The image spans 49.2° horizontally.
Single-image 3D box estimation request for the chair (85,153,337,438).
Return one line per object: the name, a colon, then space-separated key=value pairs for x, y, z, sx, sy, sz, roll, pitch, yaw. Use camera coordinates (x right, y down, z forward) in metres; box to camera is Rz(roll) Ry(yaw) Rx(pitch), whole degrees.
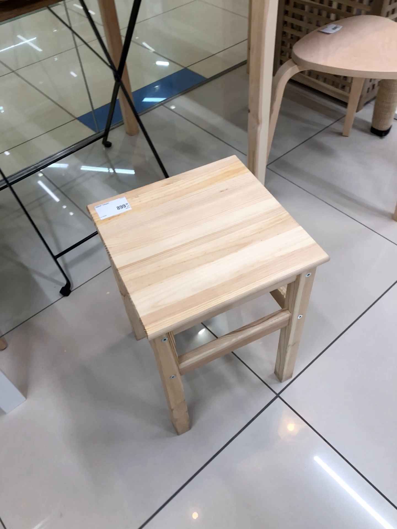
chair: x=0.017 y=0.070 z=0.905 sx=0.327 sy=0.407 sz=0.322 roll=-22 pitch=52 yaw=-14
